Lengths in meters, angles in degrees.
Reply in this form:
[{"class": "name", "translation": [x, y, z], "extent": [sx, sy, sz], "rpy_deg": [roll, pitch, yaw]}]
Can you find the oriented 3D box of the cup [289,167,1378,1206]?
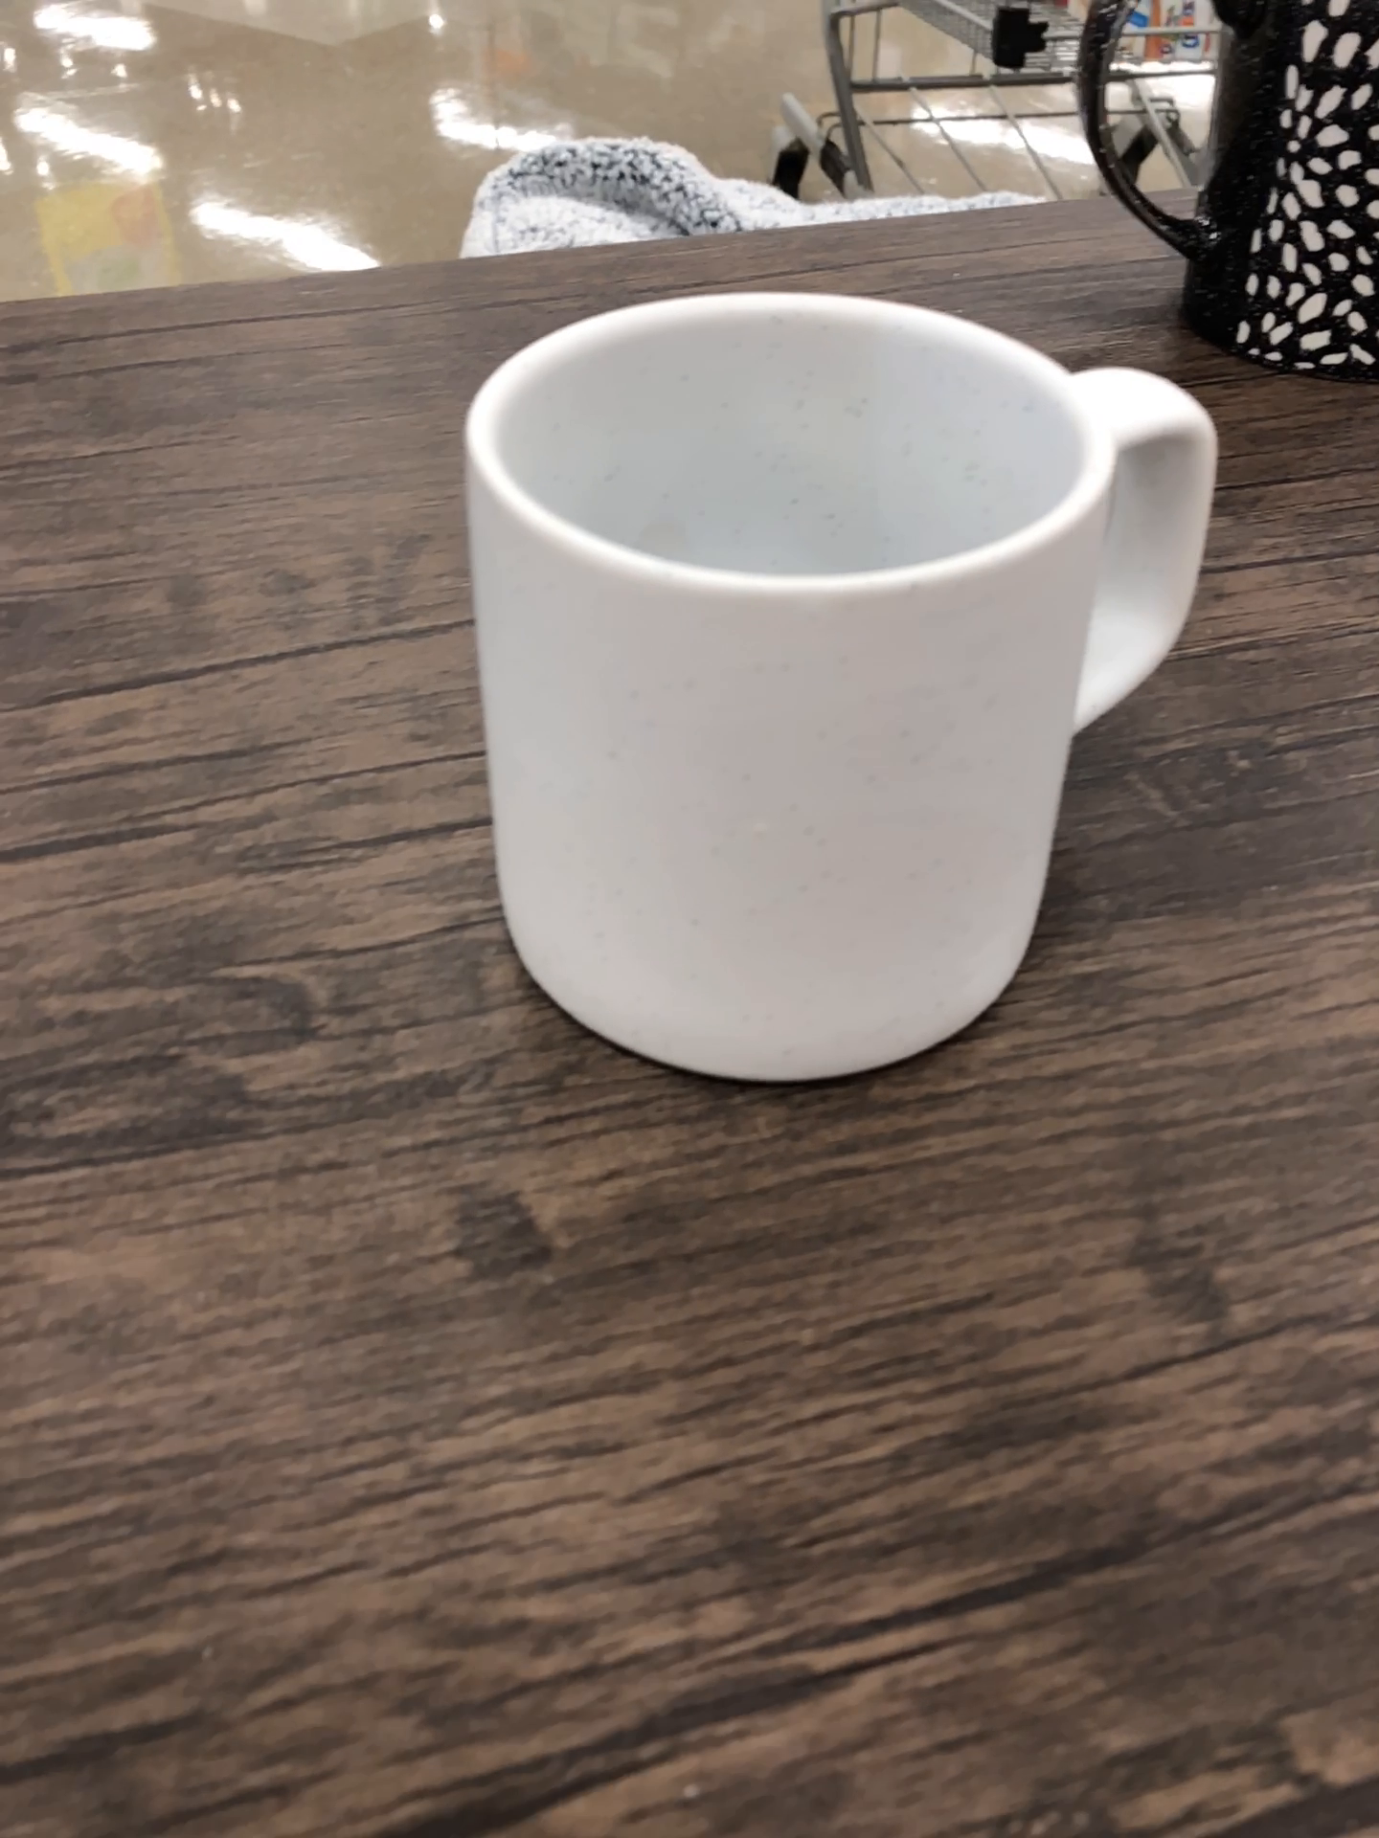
[{"class": "cup", "translation": [0.023, -0.044, 0.244], "extent": [0.130, 0.100, 0.090], "rpy_deg": [-23, 48, -22]}]
